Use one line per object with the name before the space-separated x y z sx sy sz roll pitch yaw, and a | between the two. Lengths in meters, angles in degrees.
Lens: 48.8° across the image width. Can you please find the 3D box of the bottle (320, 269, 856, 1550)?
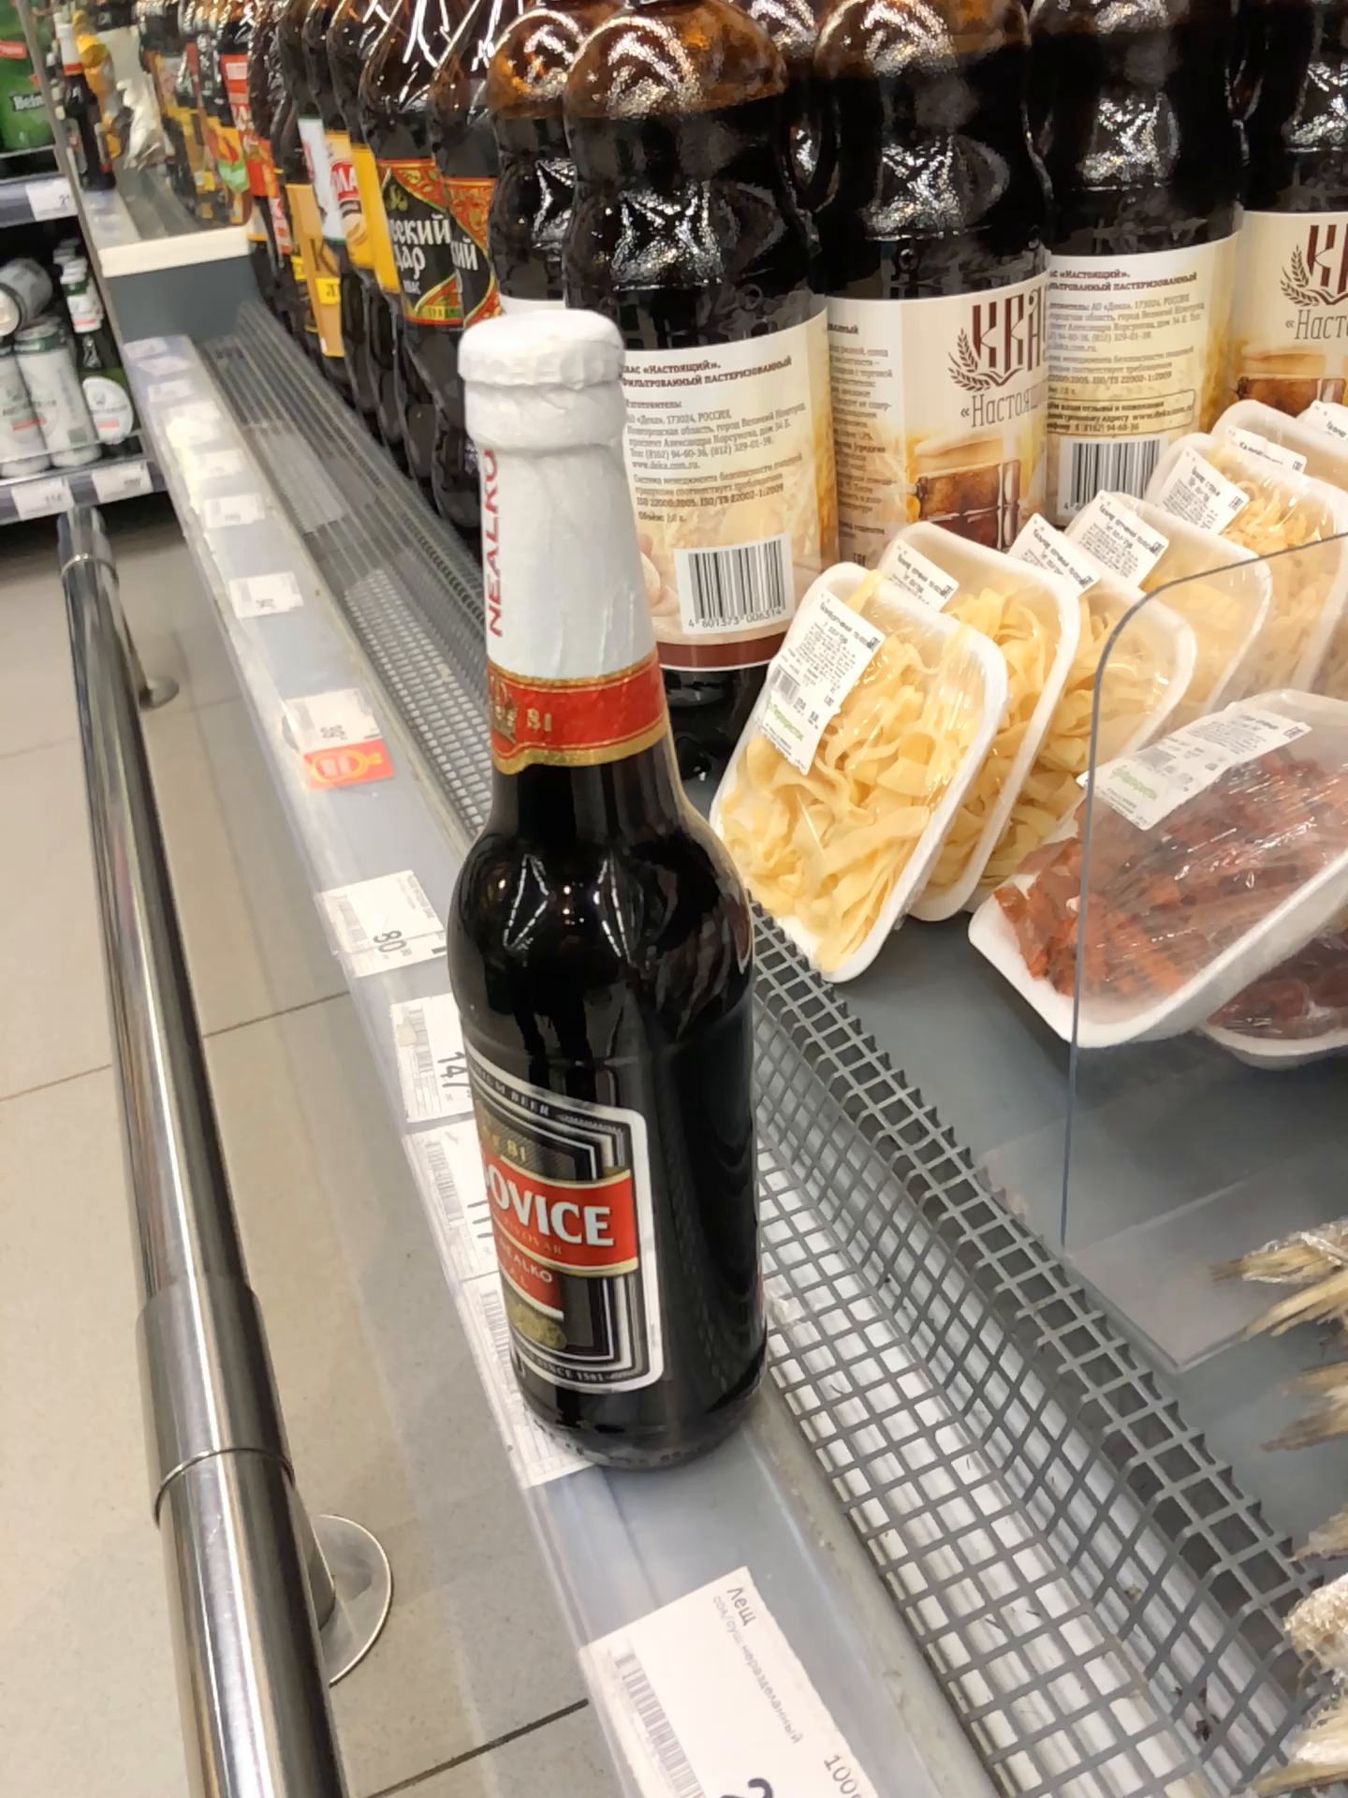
bottle | -0.009 0.016 0.322 0.070 0.268 0.070 -3 32 2
